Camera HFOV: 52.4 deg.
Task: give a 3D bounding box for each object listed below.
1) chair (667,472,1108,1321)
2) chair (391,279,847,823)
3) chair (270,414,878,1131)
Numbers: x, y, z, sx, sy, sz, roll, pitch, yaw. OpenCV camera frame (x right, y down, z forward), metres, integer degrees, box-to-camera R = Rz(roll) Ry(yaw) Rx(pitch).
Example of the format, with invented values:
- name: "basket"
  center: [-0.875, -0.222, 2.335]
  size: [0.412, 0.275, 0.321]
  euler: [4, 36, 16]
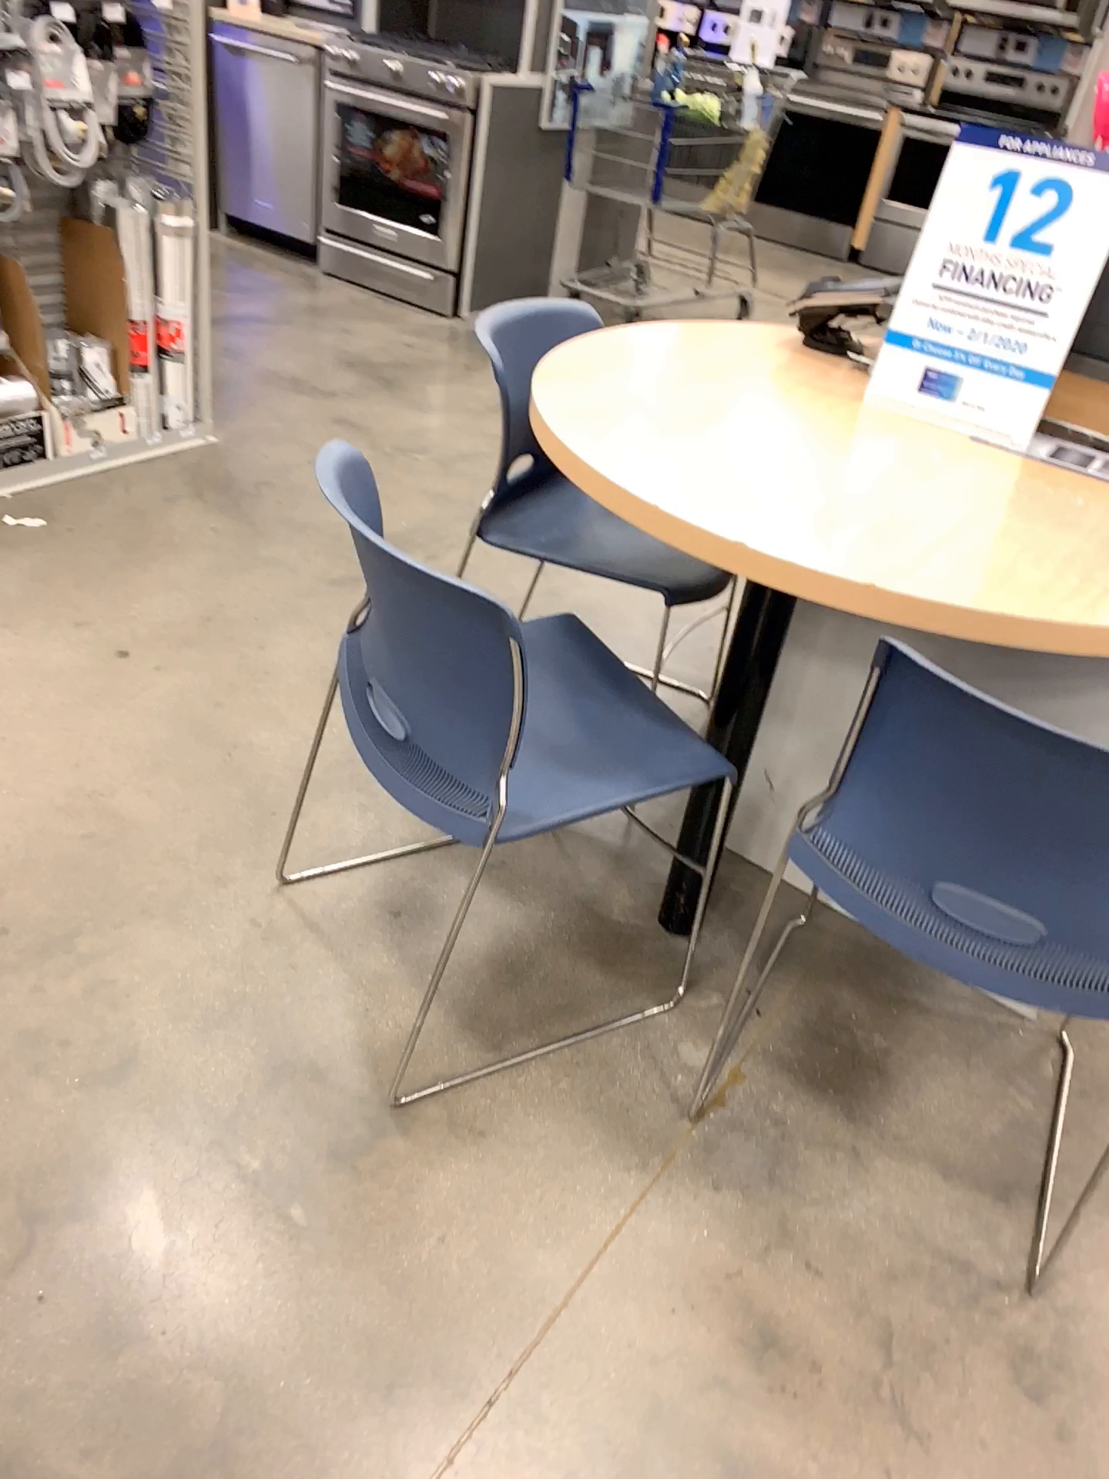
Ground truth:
- name: "chair"
  center: [0.538, 0.169, 1.393]
  size: [0.484, 0.749, 0.534]
  euler: [23, 36, 18]
- name: "chair"
  center: [0.099, -0.364, 2.080]
  size: [0.572, 0.729, 0.486]
  euler: [23, 36, 17]
- name: "chair"
  center: [-0.038, 0.018, 1.543]
  size: [0.552, 0.749, 0.485]
  euler: [-11, 40, -29]
